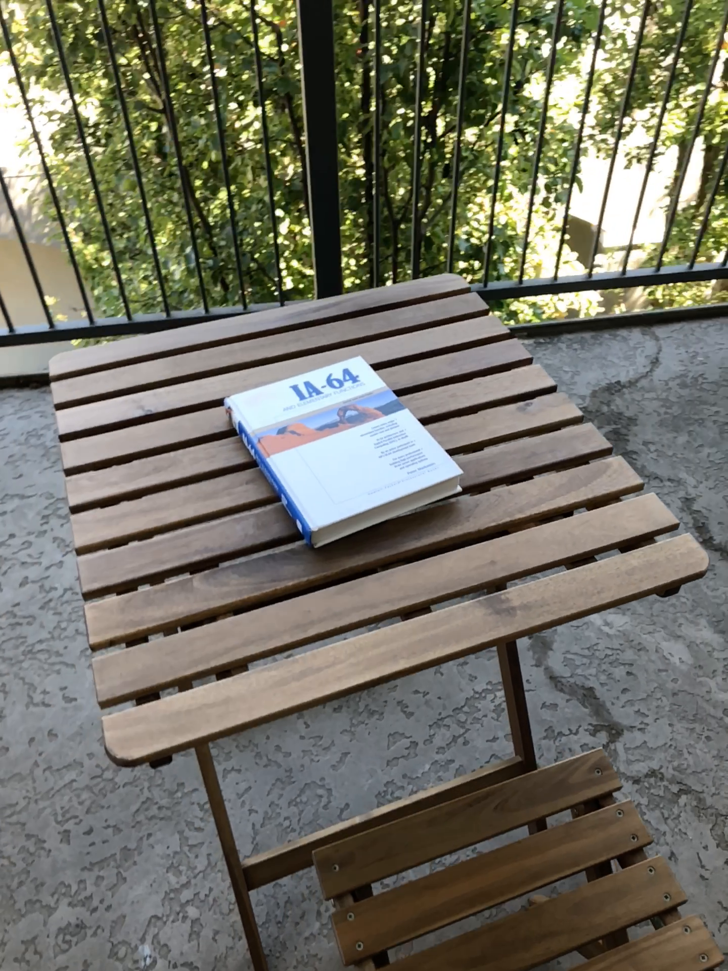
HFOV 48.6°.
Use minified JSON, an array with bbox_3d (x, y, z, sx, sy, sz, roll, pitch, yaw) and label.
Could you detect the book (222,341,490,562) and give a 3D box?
[{"bbox_3d":[-0.016,-0.051,0.885,0.200,0.040,0.251,-20,48,-18],"label":"book"}]
